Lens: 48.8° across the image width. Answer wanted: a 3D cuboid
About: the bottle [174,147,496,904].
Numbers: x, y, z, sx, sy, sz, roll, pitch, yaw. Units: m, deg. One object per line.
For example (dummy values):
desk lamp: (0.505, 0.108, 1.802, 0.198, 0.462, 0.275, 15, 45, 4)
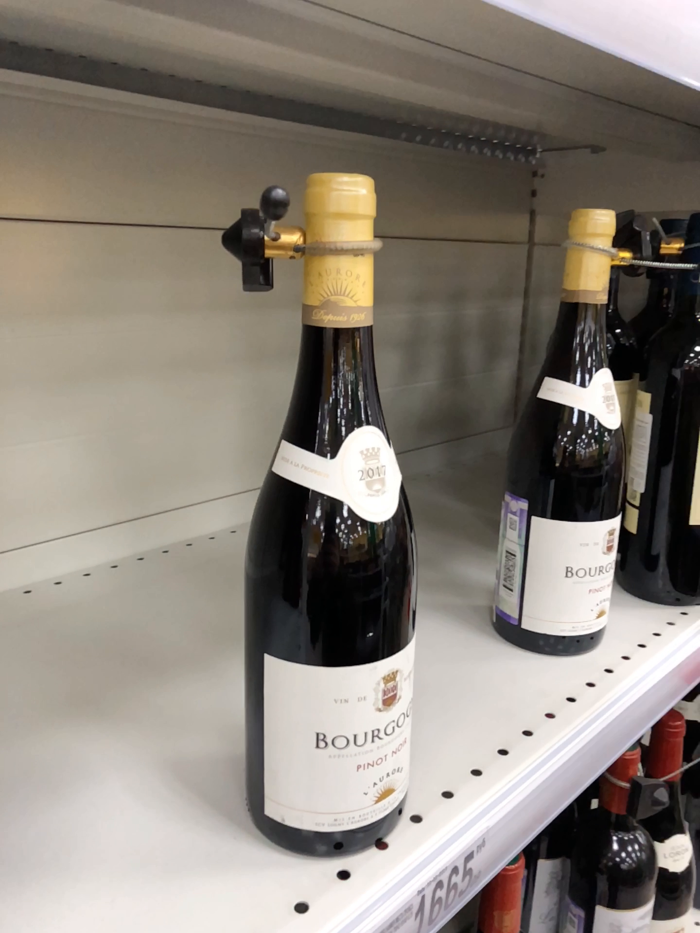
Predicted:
bottle: (-0.010, 0.022, 0.341, 0.090, 0.289, 0.090, 1, 15, 0)
